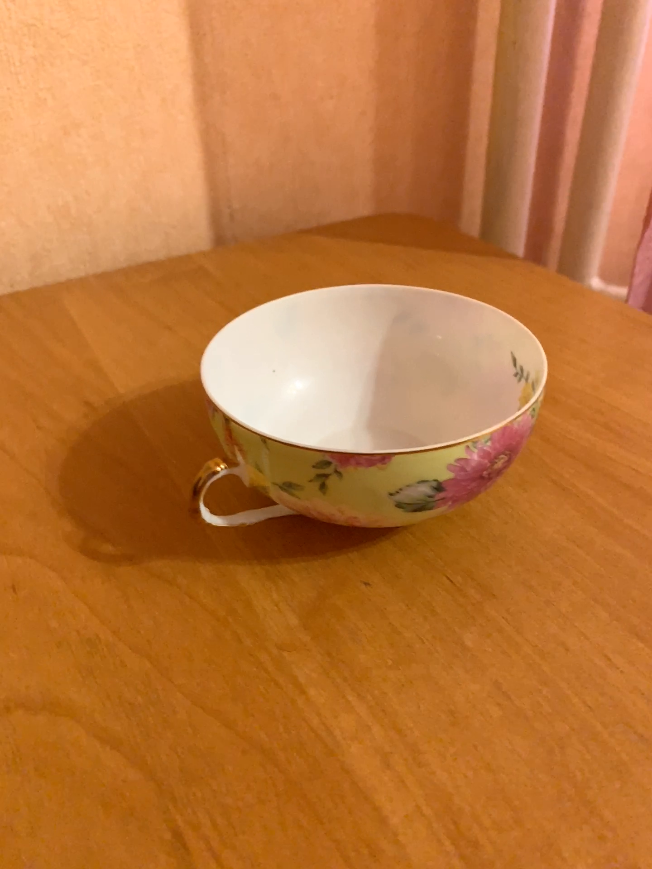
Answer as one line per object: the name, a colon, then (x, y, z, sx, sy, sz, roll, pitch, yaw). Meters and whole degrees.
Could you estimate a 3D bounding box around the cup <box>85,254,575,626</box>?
cup: (0.000, -0.009, 0.203, 0.113, 0.045, 0.079, -20, 38, -23)
